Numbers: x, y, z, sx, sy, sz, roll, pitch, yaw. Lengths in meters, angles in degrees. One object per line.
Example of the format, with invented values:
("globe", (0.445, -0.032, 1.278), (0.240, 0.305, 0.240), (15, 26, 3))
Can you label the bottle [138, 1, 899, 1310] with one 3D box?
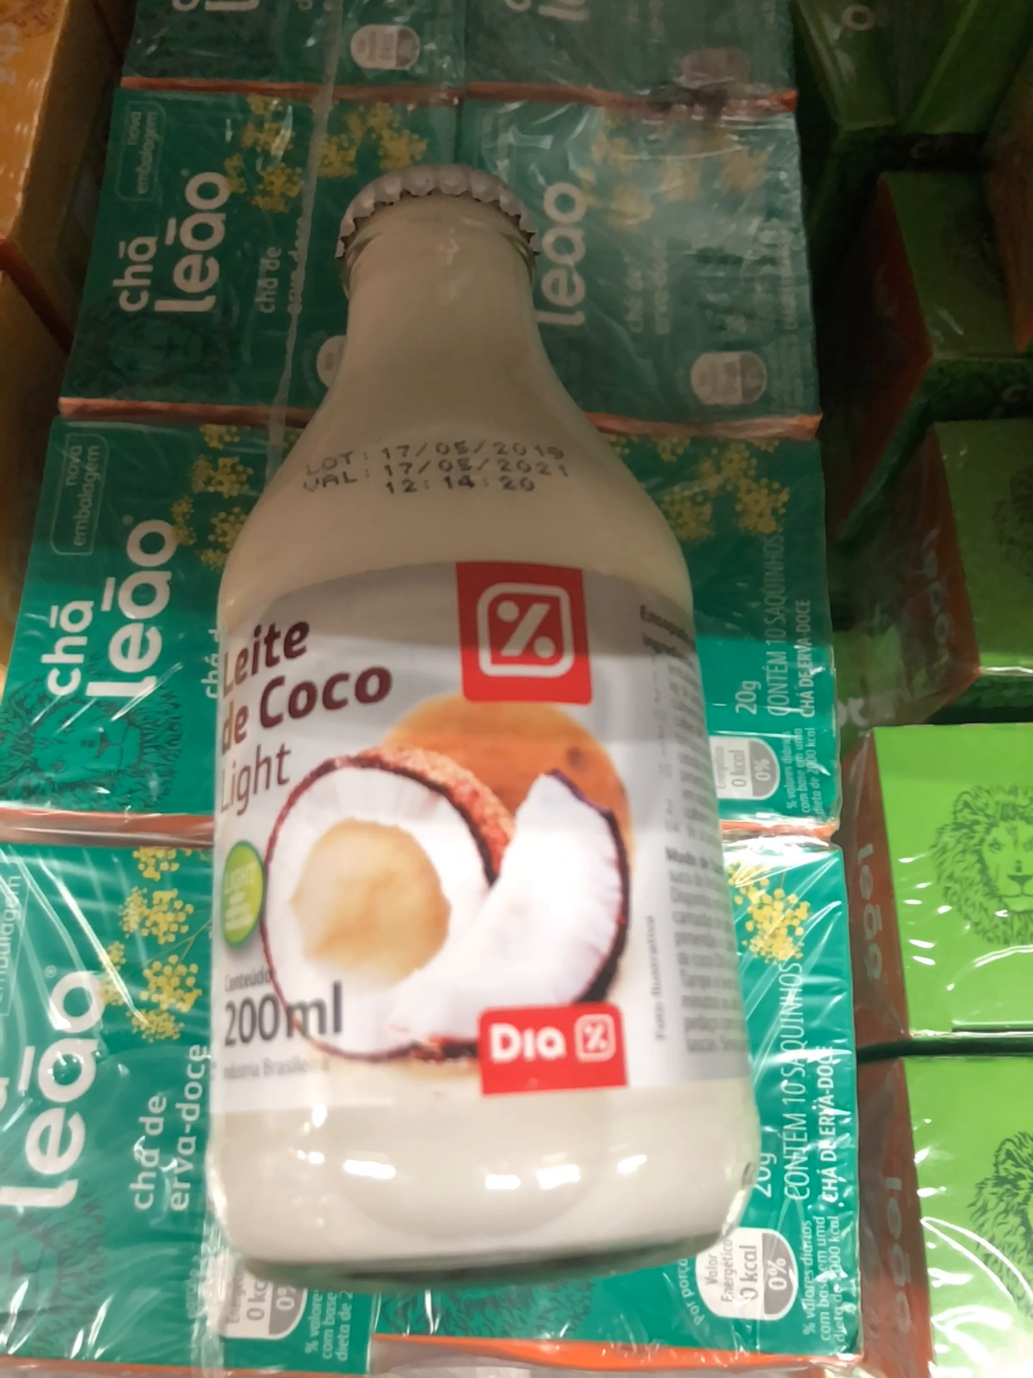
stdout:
("bottle", (-0.003, -0.011, 0.158), (0.070, 0.050, 0.160), (-2, 70, -2))
